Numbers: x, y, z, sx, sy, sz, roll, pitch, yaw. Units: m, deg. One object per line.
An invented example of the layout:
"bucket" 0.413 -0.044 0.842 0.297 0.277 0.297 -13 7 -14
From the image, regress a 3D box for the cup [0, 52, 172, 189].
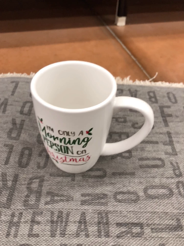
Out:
"cup" -0.006 -0.003 0.228 0.140 0.100 0.090 7 45 3
